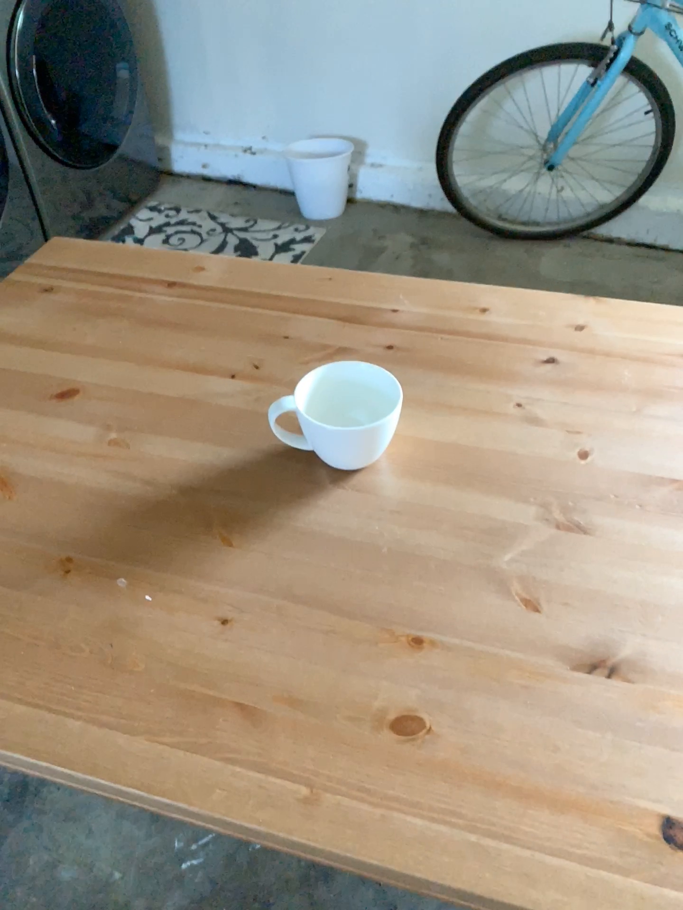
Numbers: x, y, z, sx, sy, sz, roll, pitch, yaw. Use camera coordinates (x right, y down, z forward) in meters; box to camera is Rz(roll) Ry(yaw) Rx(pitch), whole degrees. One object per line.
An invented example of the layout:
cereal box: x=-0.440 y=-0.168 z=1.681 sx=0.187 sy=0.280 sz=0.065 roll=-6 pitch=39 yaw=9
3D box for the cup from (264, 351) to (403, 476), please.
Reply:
cup: x=-0.003 y=-0.044 z=0.723 sx=0.130 sy=0.070 sz=0.110 roll=1 pitch=46 yaw=5
